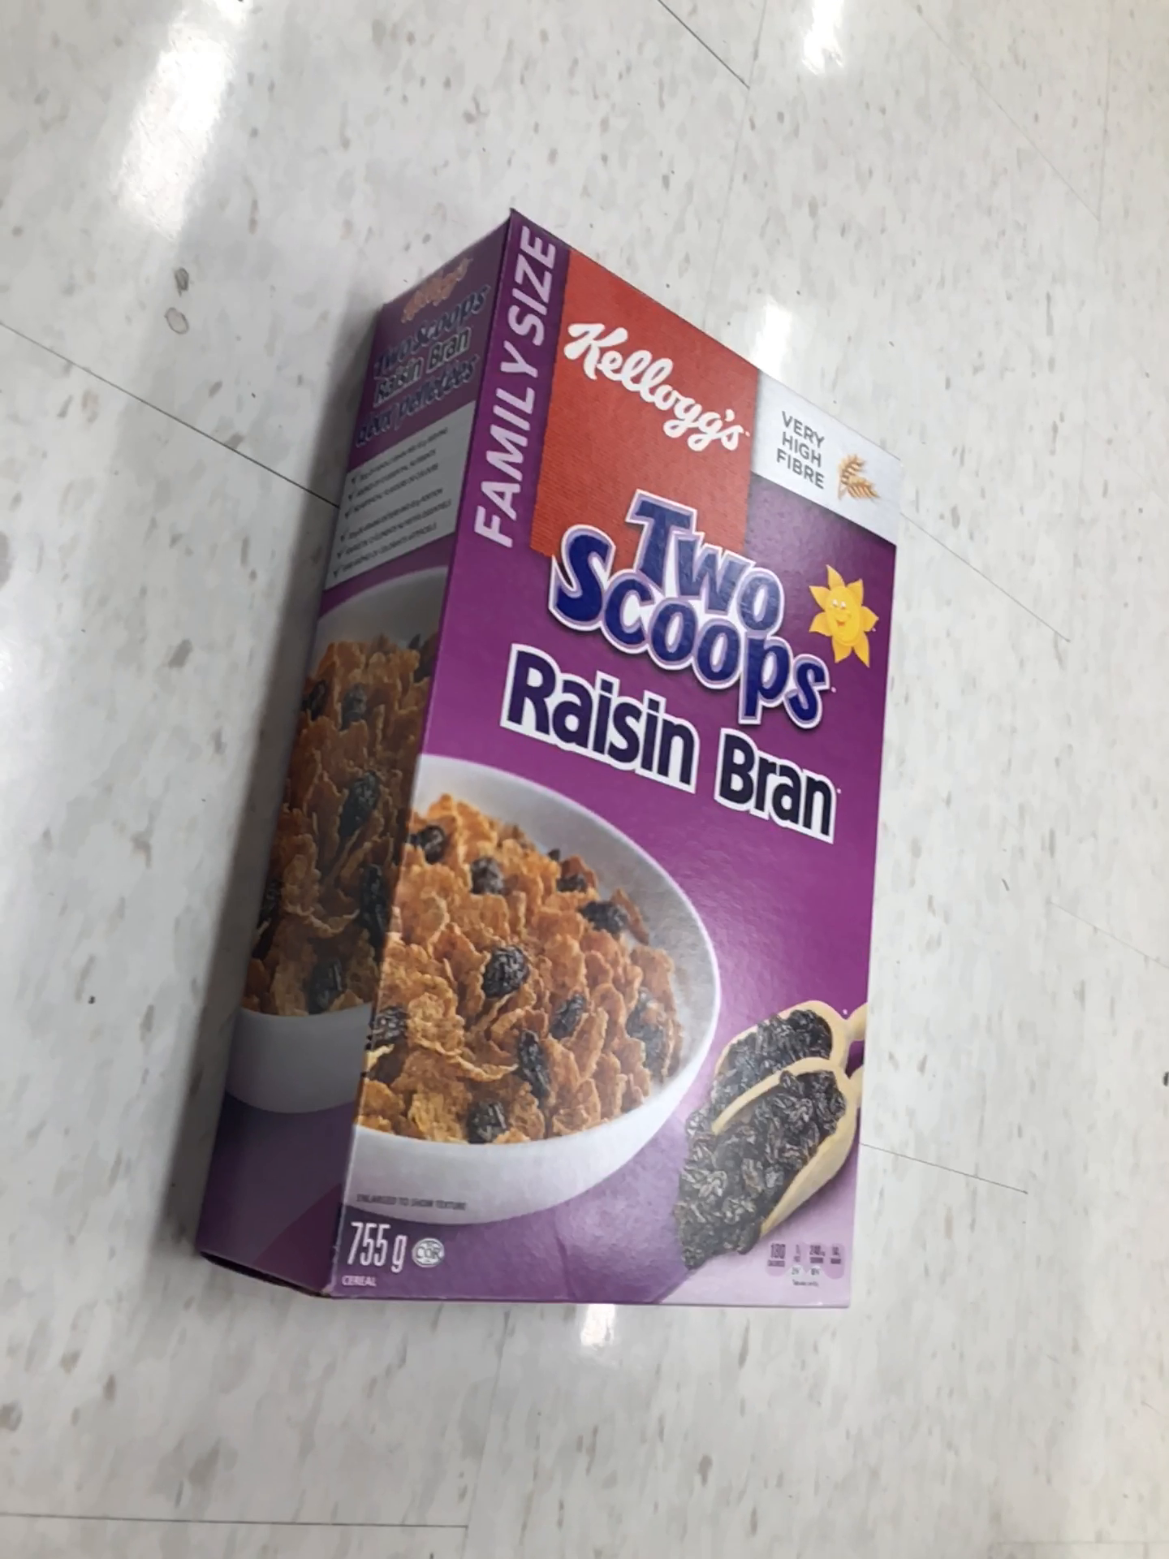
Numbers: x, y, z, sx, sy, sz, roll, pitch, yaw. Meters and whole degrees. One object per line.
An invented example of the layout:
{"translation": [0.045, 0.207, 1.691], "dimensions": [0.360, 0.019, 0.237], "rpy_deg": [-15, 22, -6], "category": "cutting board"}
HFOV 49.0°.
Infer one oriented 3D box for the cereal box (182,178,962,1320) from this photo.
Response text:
{"translation": [0.020, 0.007, 0.418], "dimensions": [0.221, 0.080, 0.300], "rpy_deg": [19, 70, -37], "category": "cereal box"}
